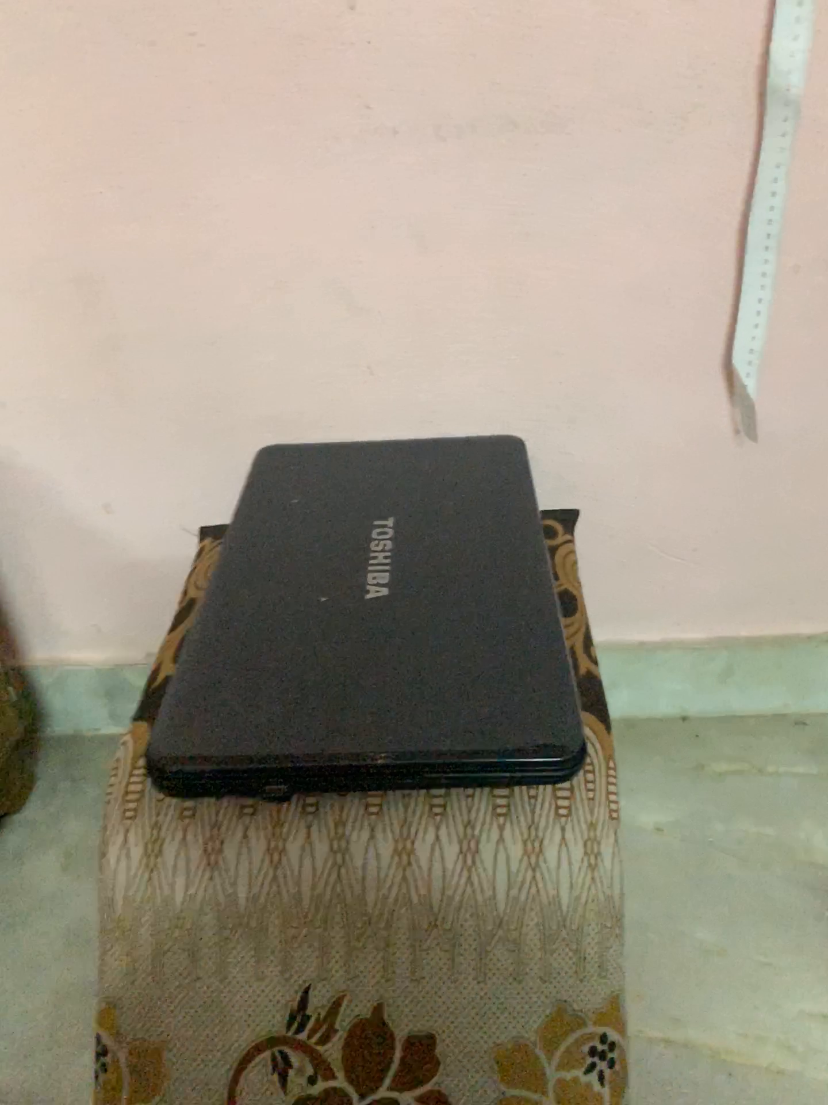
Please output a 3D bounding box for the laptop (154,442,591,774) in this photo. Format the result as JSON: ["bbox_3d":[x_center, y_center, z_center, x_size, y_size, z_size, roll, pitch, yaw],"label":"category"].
[{"bbox_3d":[-0.023,0.009,0.585,0.222,0.001,0.372,-3,33,2],"label":"laptop"}]
